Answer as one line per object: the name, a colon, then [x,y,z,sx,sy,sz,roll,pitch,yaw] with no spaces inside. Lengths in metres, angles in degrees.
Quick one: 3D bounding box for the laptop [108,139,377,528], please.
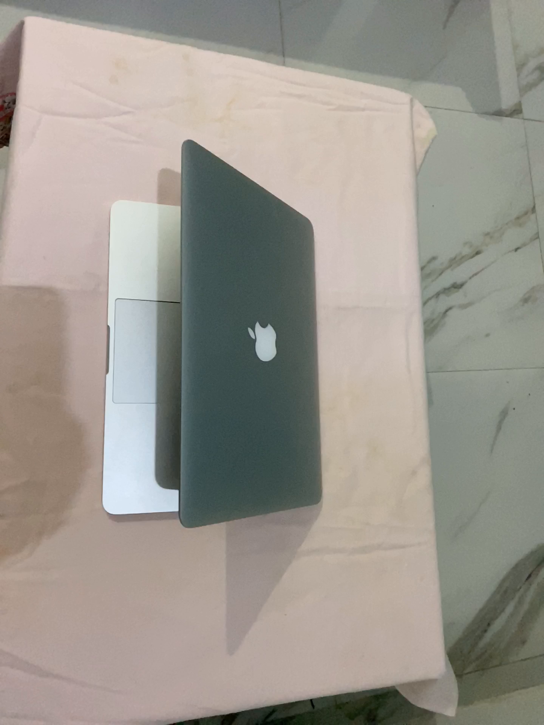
laptop: [-0.039,-0.016,0.509,0.208,0.139,0.296,1,82,-16]
